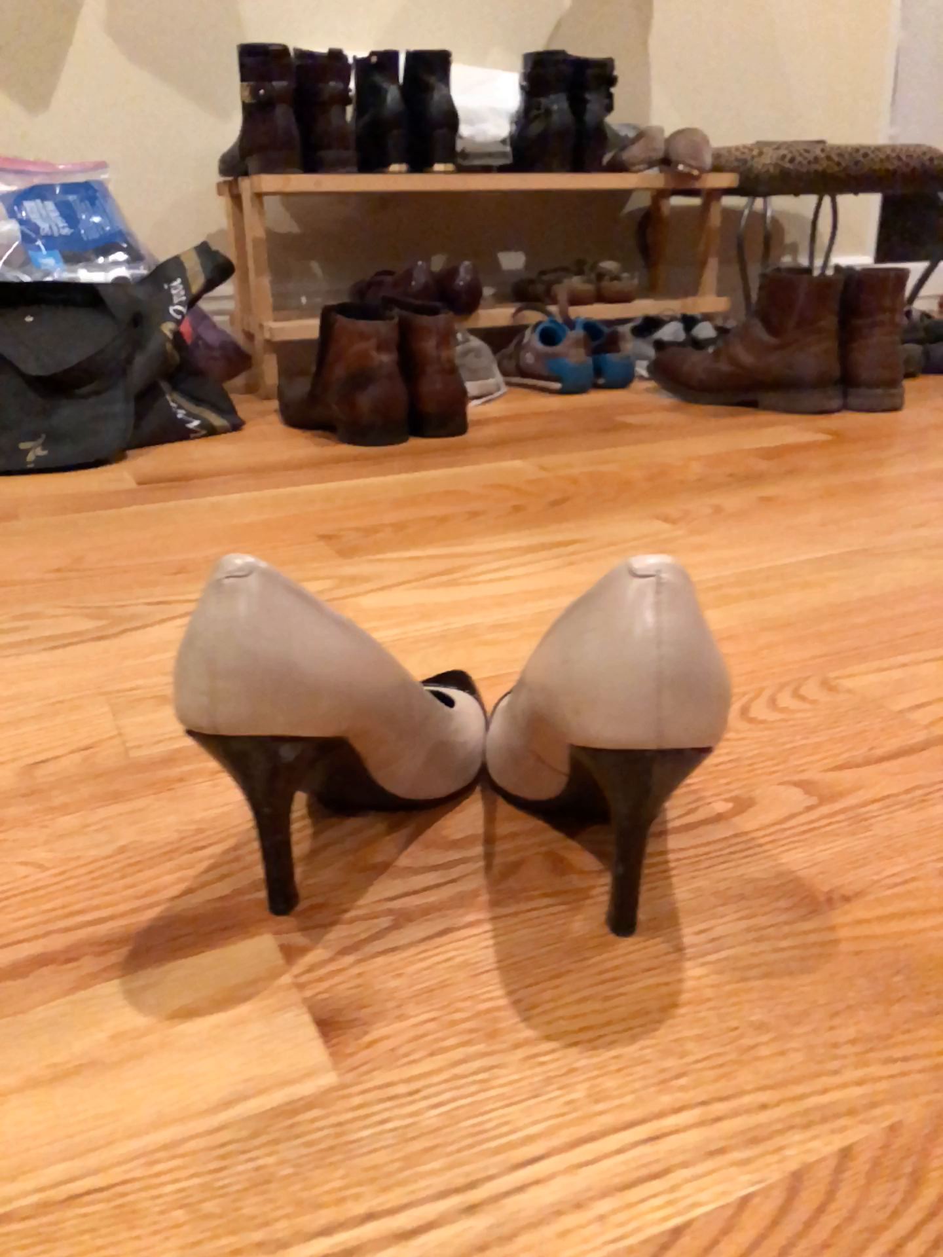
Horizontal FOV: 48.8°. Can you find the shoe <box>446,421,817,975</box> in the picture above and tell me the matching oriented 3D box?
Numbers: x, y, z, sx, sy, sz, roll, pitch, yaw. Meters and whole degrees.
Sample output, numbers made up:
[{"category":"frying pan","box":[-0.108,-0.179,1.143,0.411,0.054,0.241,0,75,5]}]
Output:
[{"category":"shoe","box":[0.045,0.005,0.432,0.085,0.138,0.236,-3,21,-6]}]

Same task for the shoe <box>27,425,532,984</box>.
[{"category":"shoe","box":[-0.053,0.007,0.434,0.085,0.138,0.236,7,22,21]}]
